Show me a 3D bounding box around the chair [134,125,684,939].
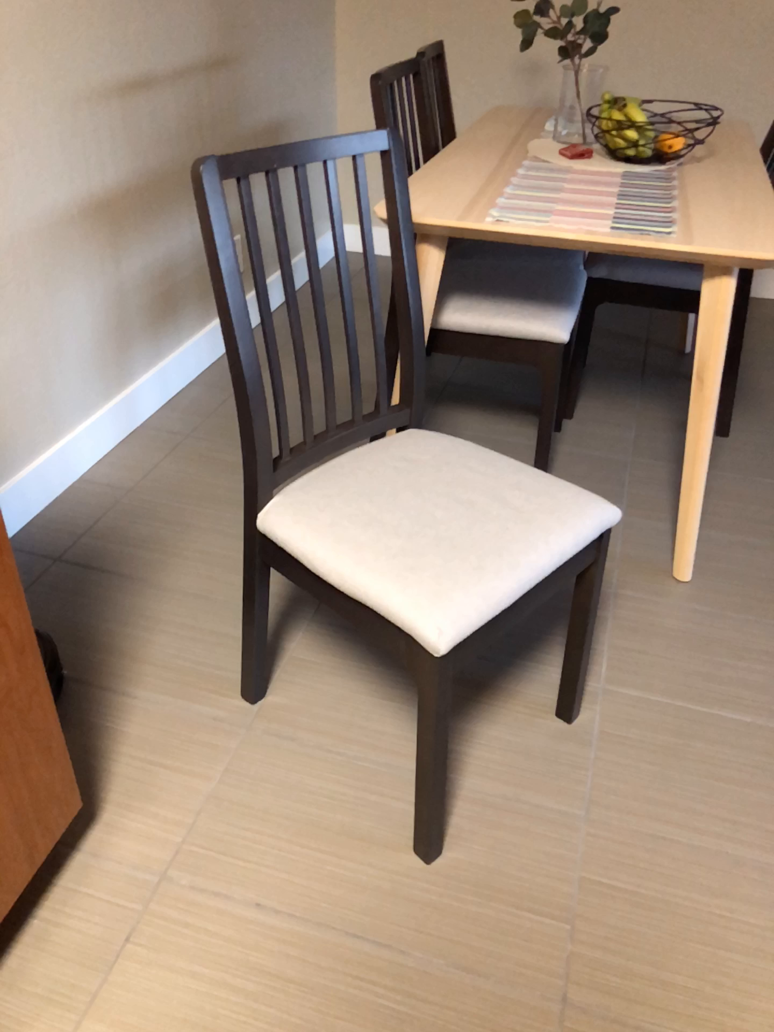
[{"bbox_3d":[0.011,0.033,1.385,0.481,1.124,0.511,-27,42,-36],"label":"chair"}]
